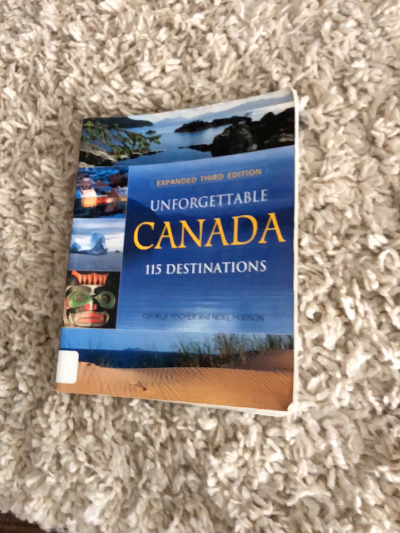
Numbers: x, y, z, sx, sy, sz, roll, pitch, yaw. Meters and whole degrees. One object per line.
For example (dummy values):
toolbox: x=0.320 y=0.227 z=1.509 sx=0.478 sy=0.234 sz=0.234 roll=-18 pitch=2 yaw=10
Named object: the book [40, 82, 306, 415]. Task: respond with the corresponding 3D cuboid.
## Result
book: x=-0.021 y=-0.015 z=0.361 sx=0.200 sy=0.040 sz=0.234 roll=-1 pitch=79 yaw=21
